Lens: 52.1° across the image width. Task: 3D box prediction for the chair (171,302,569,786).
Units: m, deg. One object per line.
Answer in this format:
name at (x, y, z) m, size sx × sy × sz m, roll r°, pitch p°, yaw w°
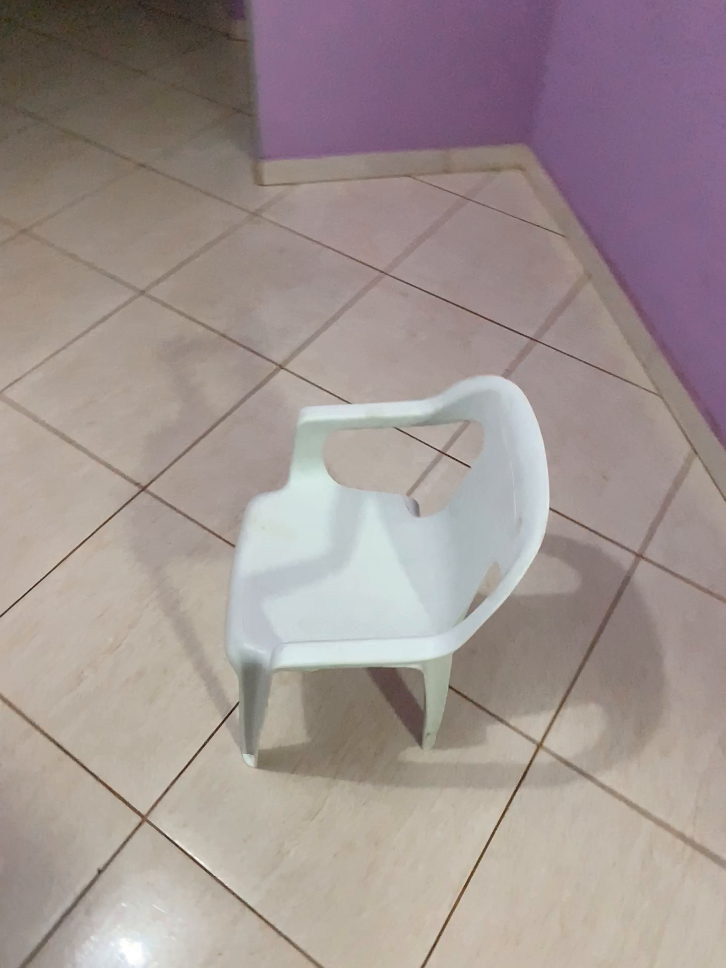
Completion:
chair at (-0.004, 0.121, 1.029) m, size 0.360 × 0.595 × 0.403 m, roll 1°, pitch 52°, yaw -2°
